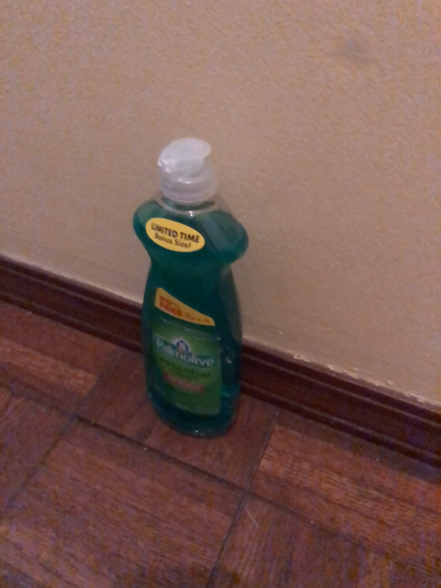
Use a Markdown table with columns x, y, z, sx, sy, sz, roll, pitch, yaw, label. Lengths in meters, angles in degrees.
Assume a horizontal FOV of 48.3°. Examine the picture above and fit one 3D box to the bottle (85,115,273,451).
| x | y | z | sx | sy | sz | roll | pitch | yaw | label |
| --- | --- | --- | --- | --- | --- | --- | --- | --- | --- |
| -0.022 | 0.010 | 0.325 | 0.080 | 0.229 | 0.050 | 17 | 46 | 15 | bottle |
